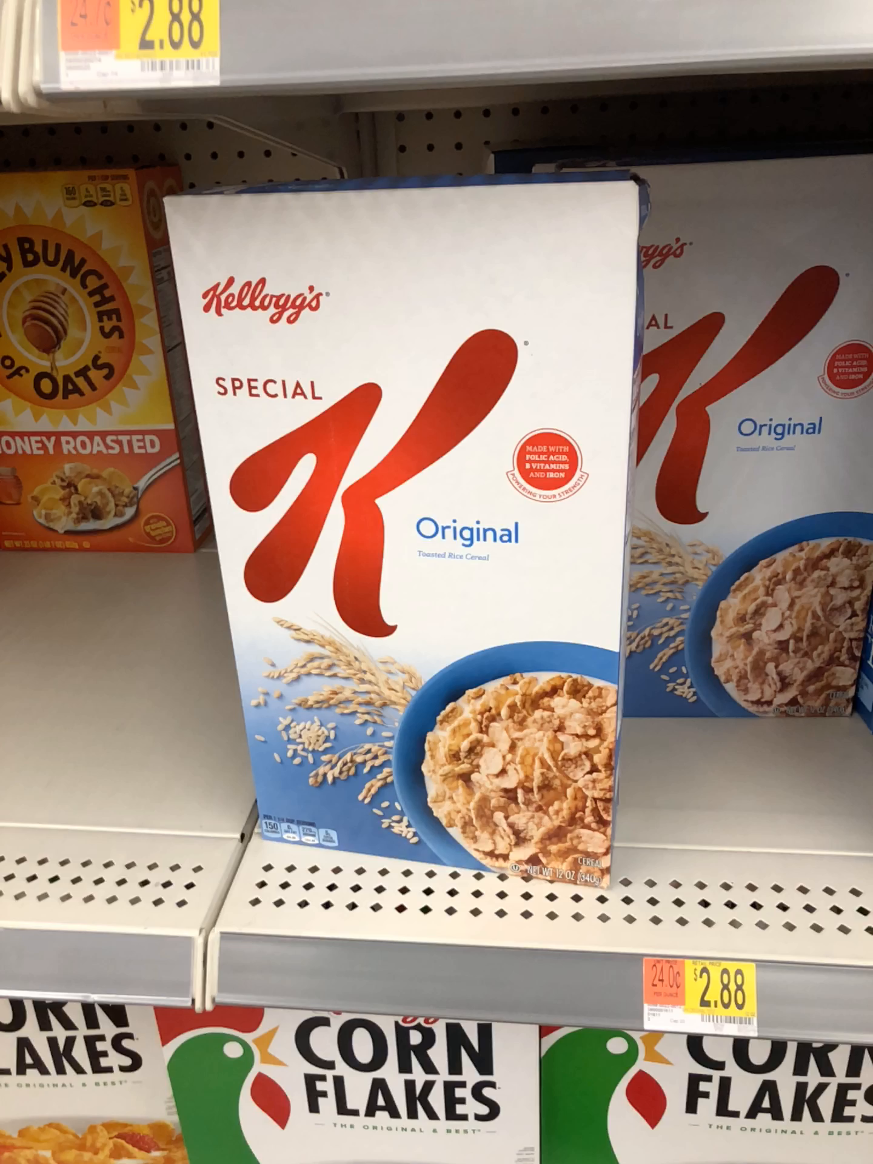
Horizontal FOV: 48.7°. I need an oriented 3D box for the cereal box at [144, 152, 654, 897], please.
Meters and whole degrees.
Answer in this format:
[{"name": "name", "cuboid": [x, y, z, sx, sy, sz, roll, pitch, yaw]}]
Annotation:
[{"name": "cereal box", "cuboid": [-0.005, -0.019, 0.458, 0.190, 0.329, 0.080, 4, 26, 14]}]
